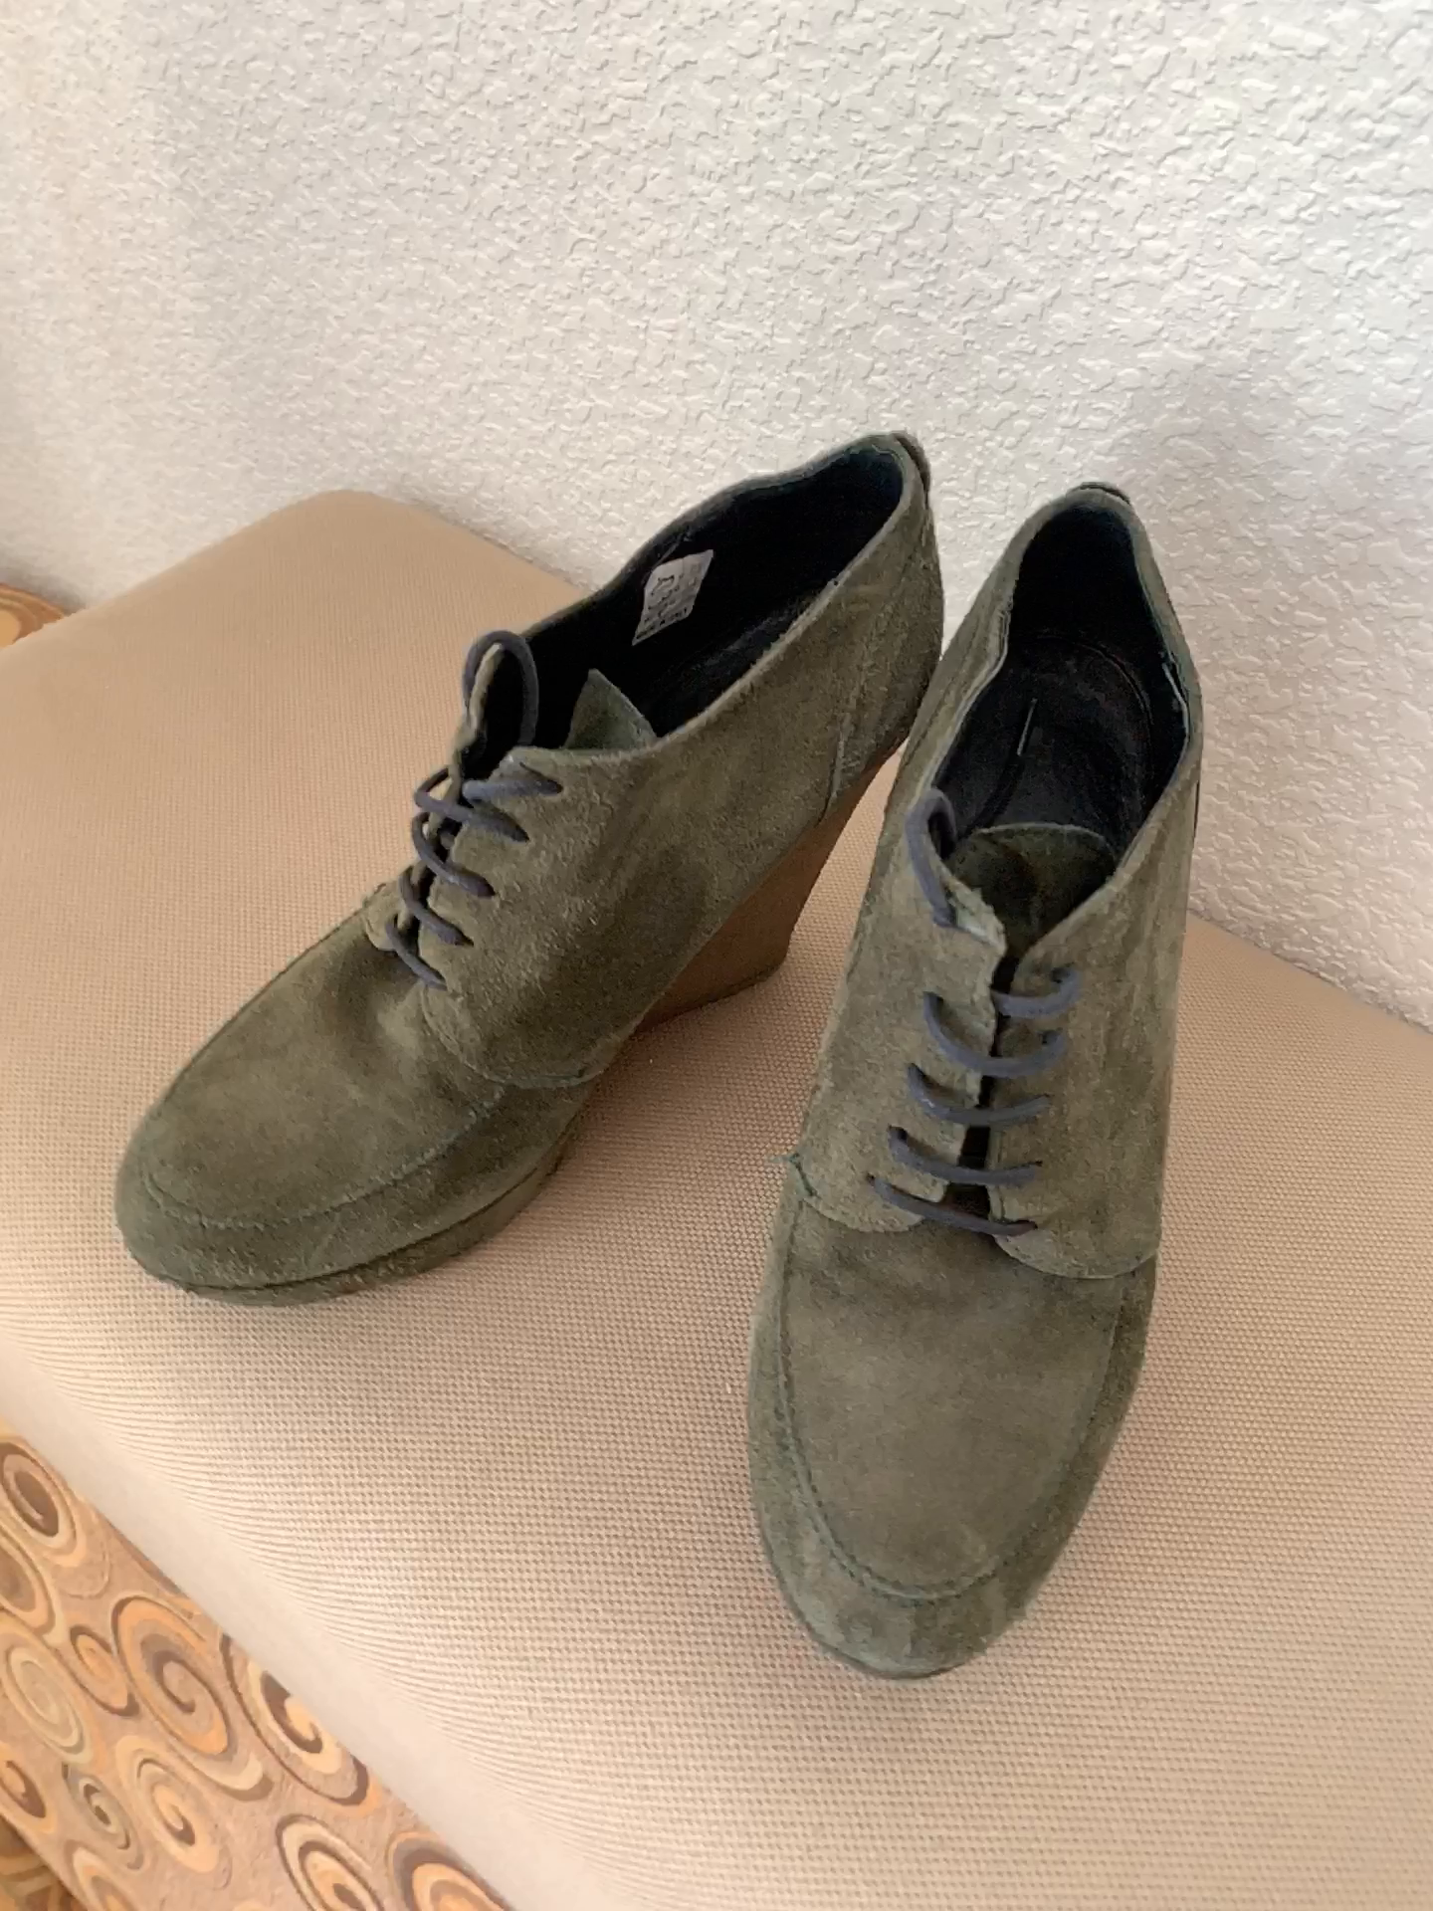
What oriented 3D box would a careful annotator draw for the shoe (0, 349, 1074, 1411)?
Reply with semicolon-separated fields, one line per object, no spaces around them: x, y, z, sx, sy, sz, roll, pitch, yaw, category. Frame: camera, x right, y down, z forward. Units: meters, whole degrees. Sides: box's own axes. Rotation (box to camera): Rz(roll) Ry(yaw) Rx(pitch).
-0.043;-0.022;0.341;0.229;0.136;0.087;-31;59;-23;shoe

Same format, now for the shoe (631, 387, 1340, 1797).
0.066;0.015;0.329;0.080;0.139;0.271;15;53;10;shoe
